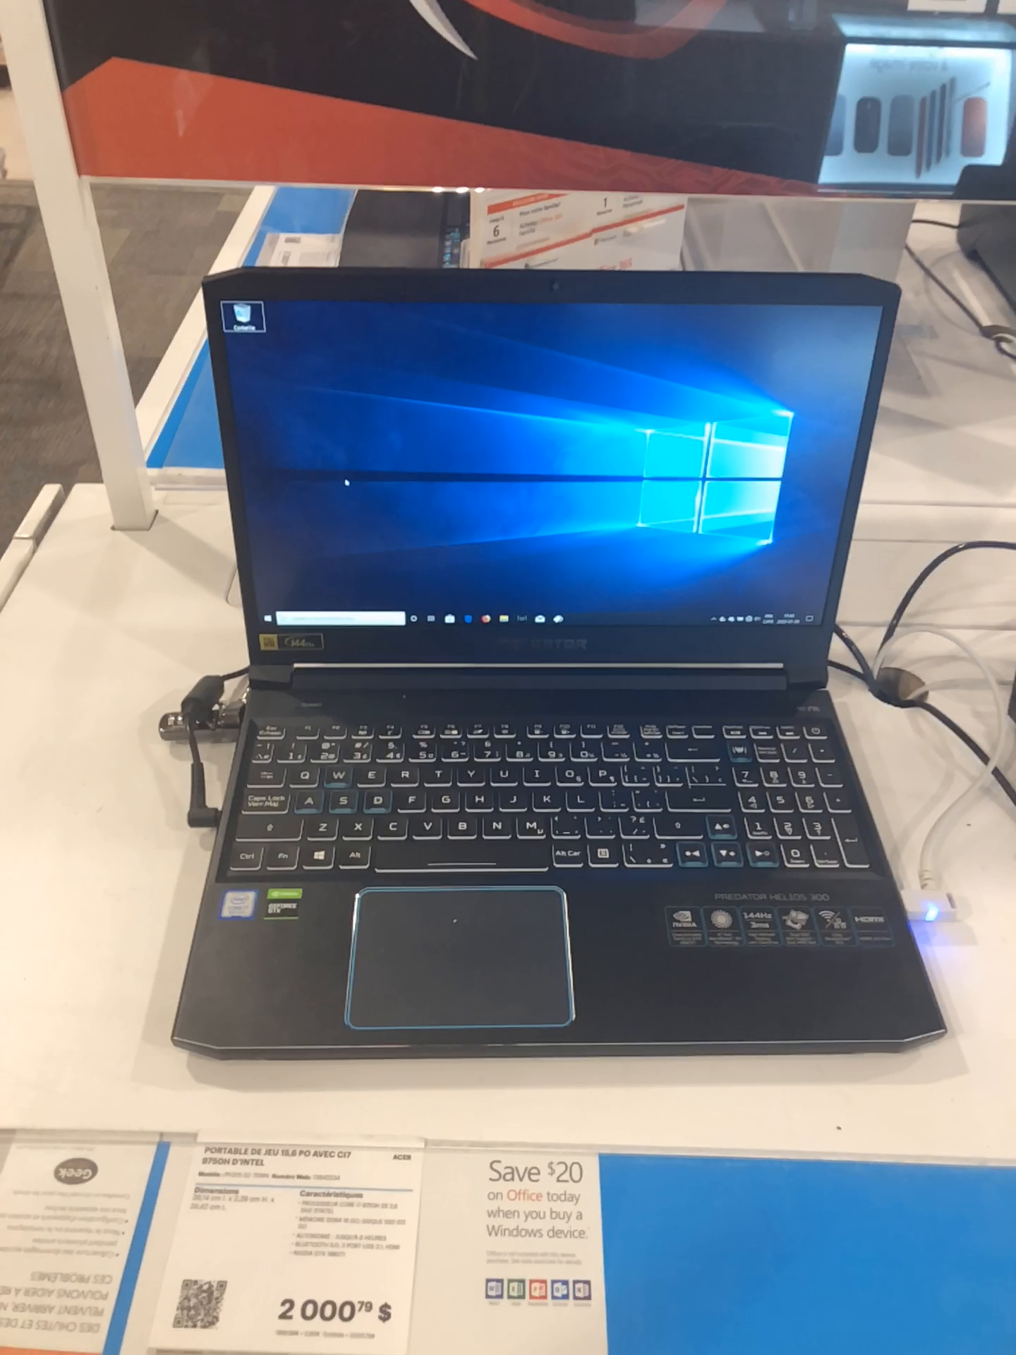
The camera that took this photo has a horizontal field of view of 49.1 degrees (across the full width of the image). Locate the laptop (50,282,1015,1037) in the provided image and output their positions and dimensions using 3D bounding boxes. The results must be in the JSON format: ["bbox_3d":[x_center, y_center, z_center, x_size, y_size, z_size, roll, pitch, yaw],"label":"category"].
[{"bbox_3d":[0.026,-0.017,0.531,0.348,0.230,0.274,0,43,-1],"label":"laptop"}]
